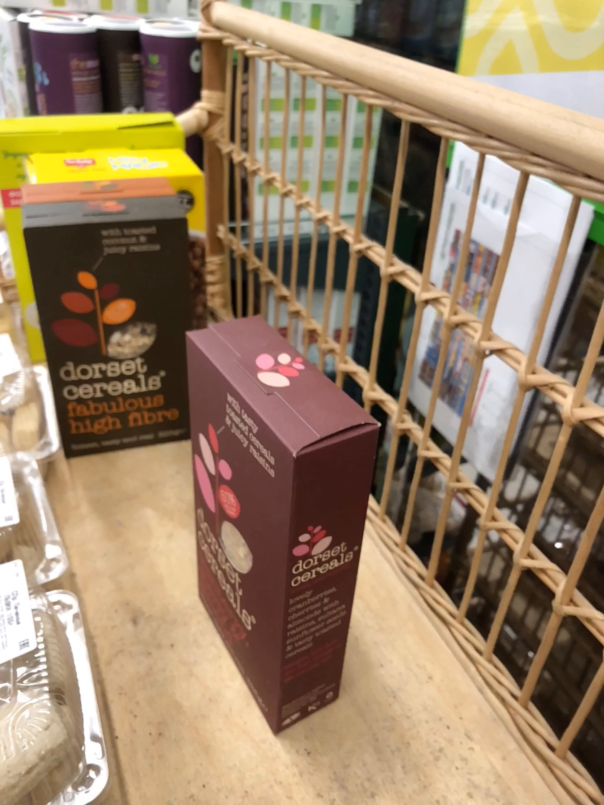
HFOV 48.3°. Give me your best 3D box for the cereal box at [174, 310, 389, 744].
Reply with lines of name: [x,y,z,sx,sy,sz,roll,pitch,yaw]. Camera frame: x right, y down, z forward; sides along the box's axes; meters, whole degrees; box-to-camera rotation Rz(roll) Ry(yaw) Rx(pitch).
cereal box: [-0.023,0.072,0.379,0.050,0.209,0.121,-15,39,-28]
